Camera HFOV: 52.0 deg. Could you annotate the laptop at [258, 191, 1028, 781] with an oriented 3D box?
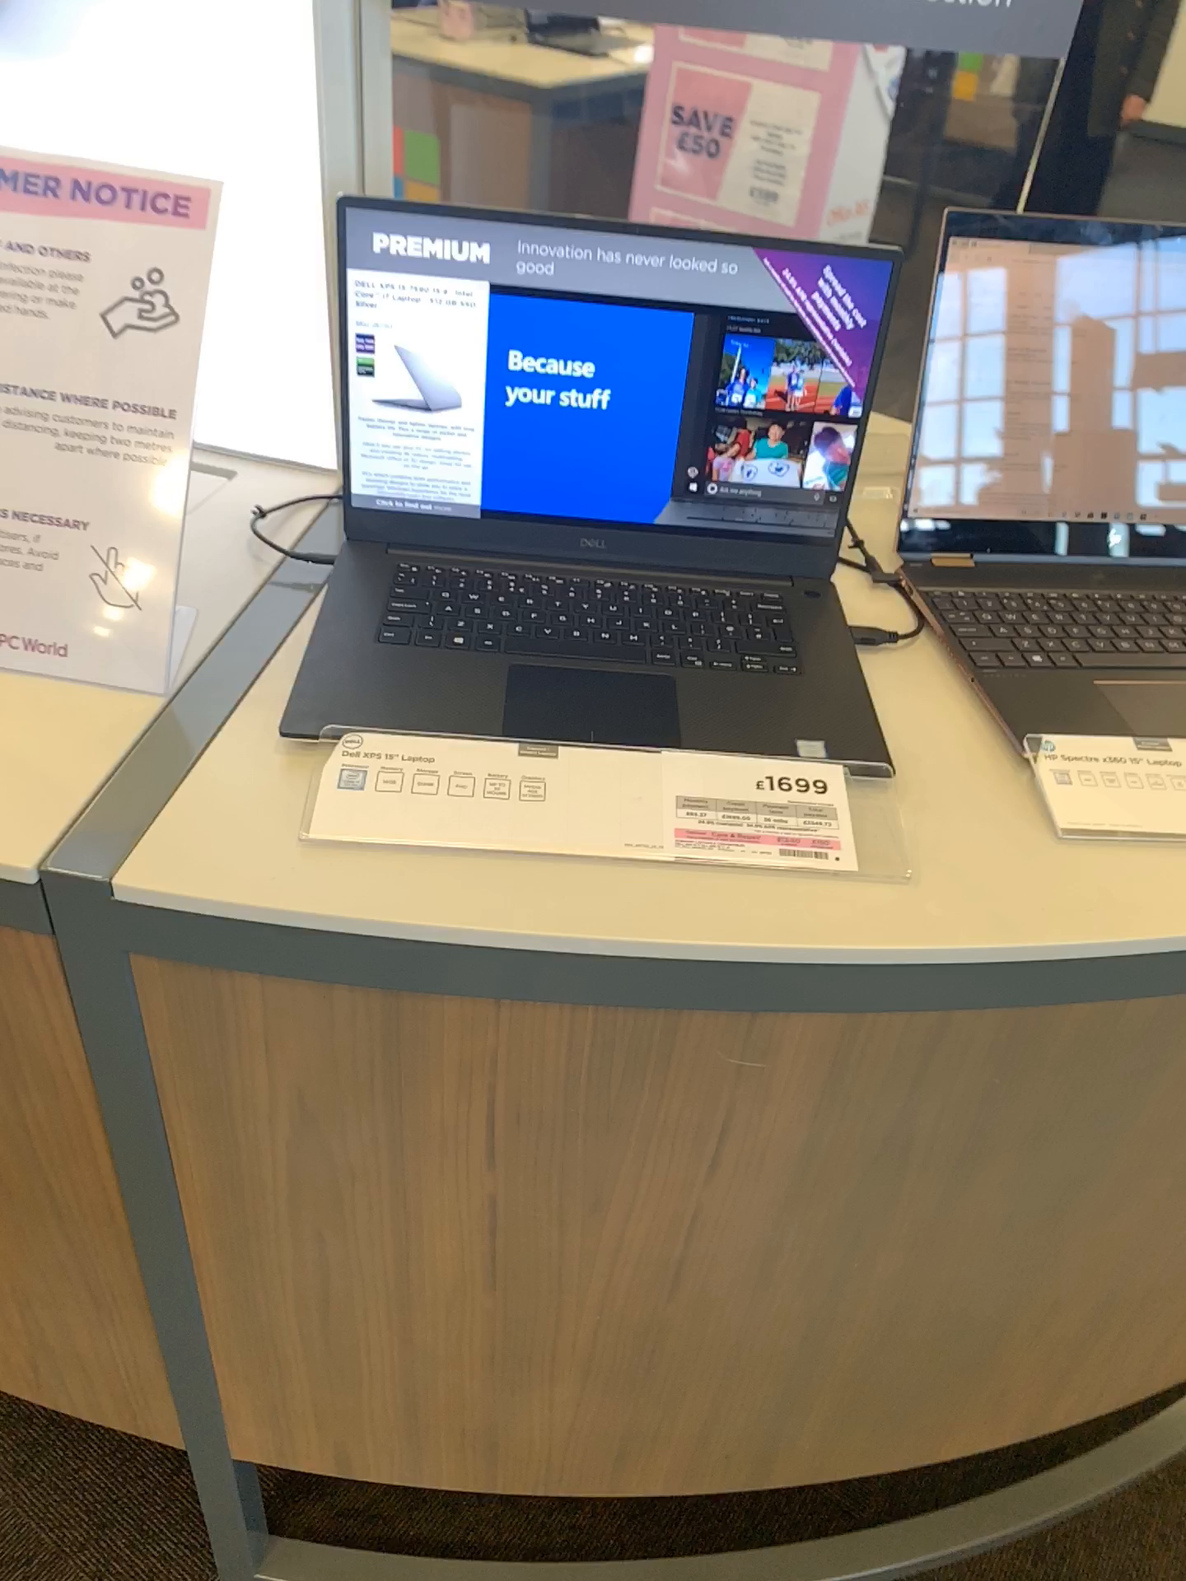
[{"bbox_3d":[0.012,-0.185,0.718,0.350,0.224,0.255,4,38,-4],"label":"laptop"}]
